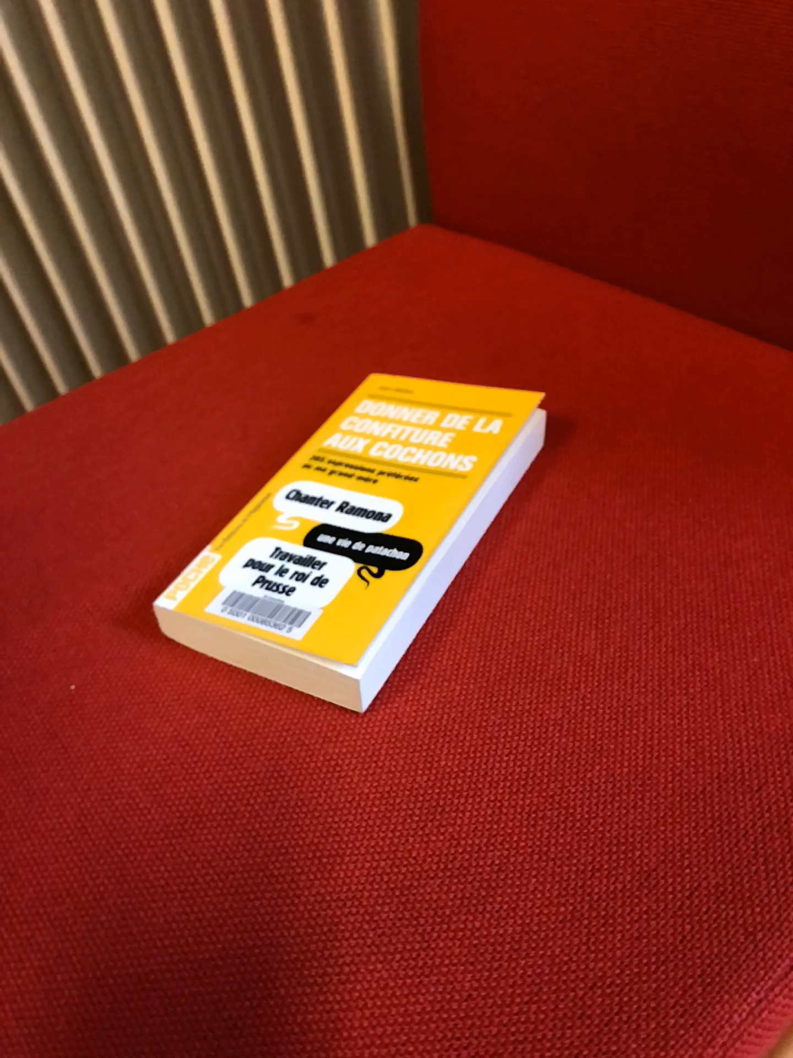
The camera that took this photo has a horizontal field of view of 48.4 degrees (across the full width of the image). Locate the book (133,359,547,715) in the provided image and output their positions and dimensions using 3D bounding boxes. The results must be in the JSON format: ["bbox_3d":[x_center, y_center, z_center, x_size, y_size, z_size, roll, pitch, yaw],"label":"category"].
[{"bbox_3d":[-0.015,-0.010,0.400,0.106,0.030,0.181,15,46,25],"label":"book"}]
